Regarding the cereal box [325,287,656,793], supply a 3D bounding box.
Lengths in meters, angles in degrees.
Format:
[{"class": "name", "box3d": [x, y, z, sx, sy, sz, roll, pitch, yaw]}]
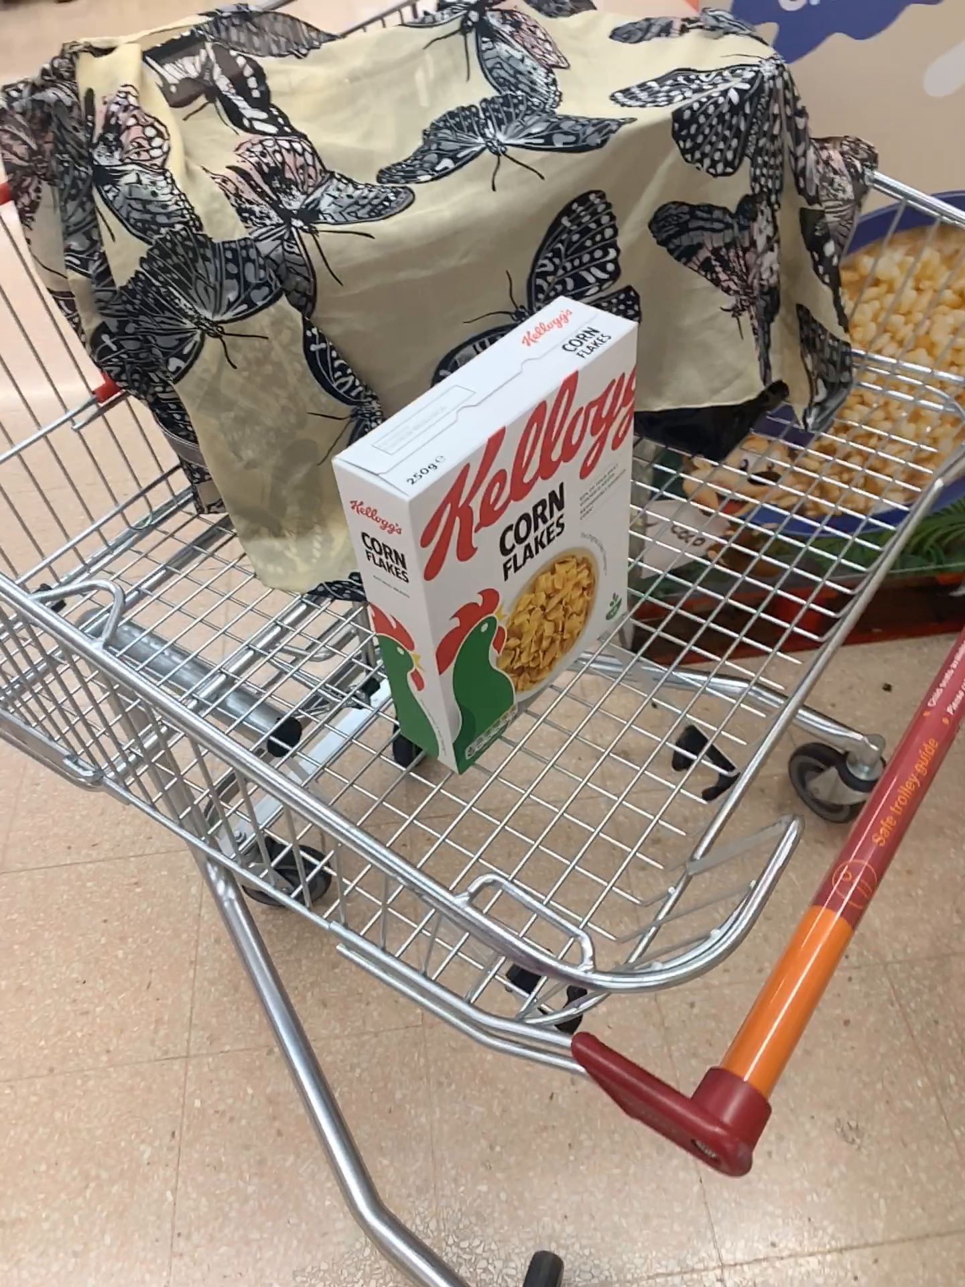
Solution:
[{"class": "cereal box", "box3d": [0.017, -0.057, 0.605, 0.060, 0.238, 0.201, 30, 56, 28]}]
